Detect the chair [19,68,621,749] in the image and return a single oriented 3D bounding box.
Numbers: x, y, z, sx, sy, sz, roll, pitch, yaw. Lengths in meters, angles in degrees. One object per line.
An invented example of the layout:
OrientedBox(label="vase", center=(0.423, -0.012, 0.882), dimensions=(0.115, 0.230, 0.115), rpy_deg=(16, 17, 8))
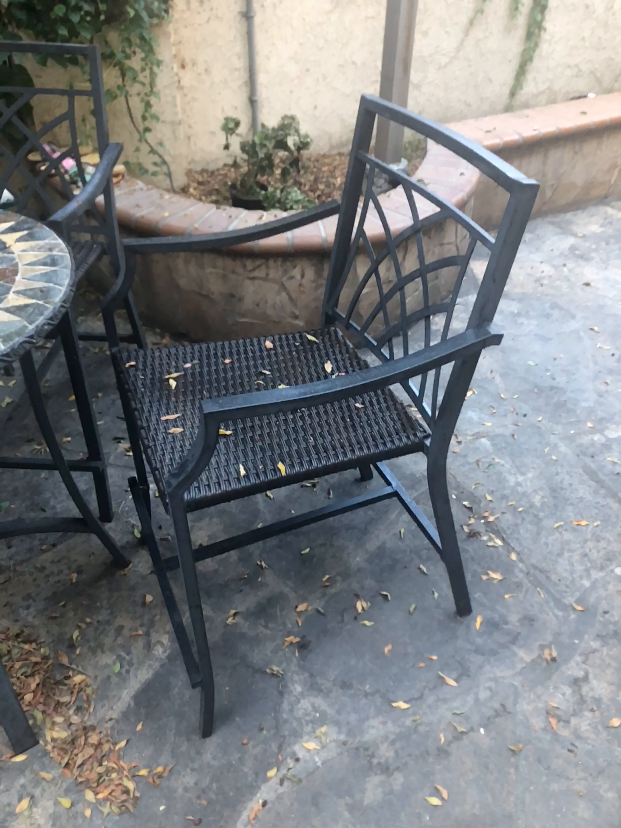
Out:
OrientedBox(label="chair", center=(-0.036, -0.045, 1.280), dimensions=(0.692, 0.912, 0.684), rpy_deg=(-14, 41, -19))
